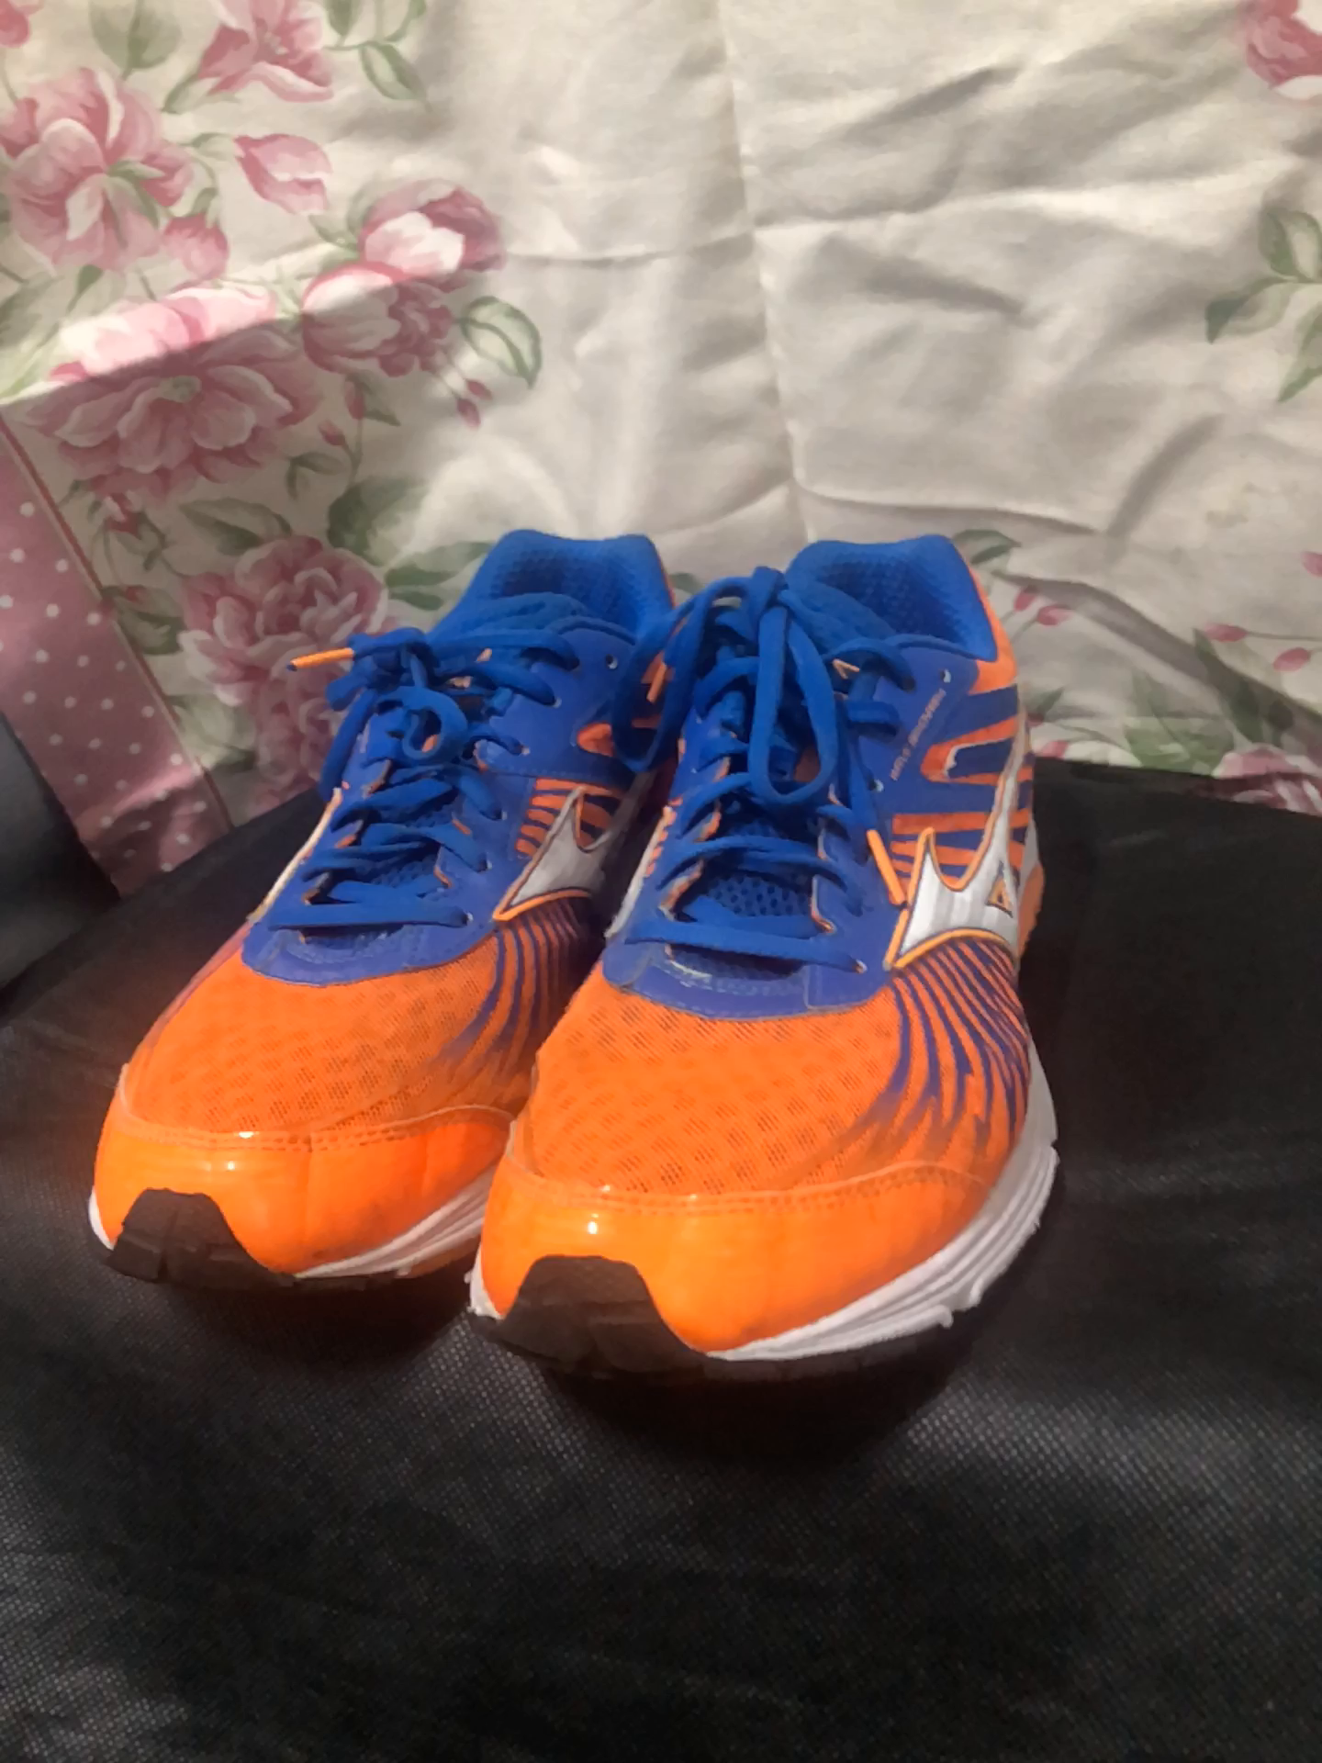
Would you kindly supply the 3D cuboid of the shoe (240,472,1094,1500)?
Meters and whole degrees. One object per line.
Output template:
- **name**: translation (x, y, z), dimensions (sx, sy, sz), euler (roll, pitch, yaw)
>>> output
- **shoe**: translation (0.028, -0.006, 0.314), dimensions (0.110, 0.109, 0.222), euler (3, 28, 18)

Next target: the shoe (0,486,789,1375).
- **shoe**: translation (-0.051, -0.013, 0.352), dimensions (0.110, 0.109, 0.222), euler (3, 28, 18)
